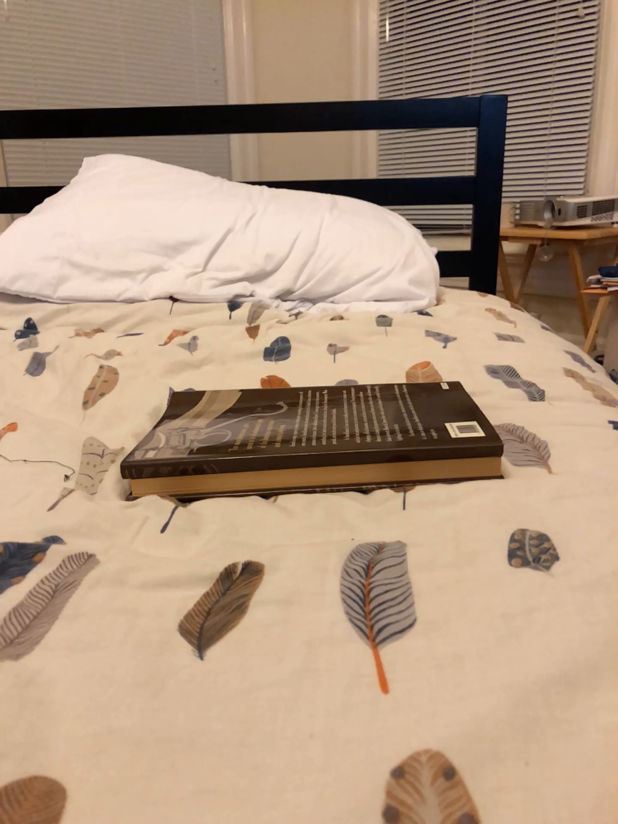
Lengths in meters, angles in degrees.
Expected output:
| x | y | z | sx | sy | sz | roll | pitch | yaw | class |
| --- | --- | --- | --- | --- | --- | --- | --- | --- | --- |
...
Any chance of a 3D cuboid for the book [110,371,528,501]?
| x | y | z | sx | sy | sz | roll | pitch | yaw | class |
| --- | --- | --- | --- | --- | --- | --- | --- | --- | --- |
| 0.007 | 0.010 | 0.481 | 0.240 | 0.030 | 0.181 | -1 | 17 | 1 | book |
